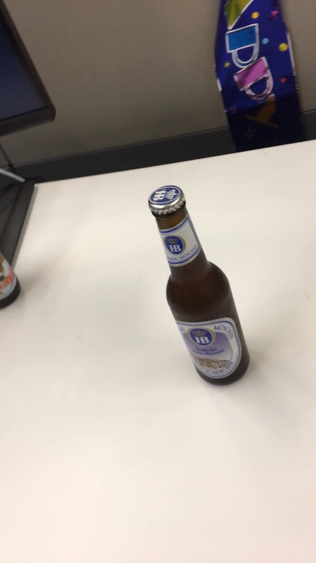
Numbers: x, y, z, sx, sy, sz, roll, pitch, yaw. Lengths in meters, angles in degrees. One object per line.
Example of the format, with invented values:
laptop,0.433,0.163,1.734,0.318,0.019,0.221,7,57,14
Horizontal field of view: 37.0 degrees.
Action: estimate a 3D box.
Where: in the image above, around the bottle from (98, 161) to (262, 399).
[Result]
bottle,0.035,0.012,0.437,0.080,0.230,0.080,-11,45,12
